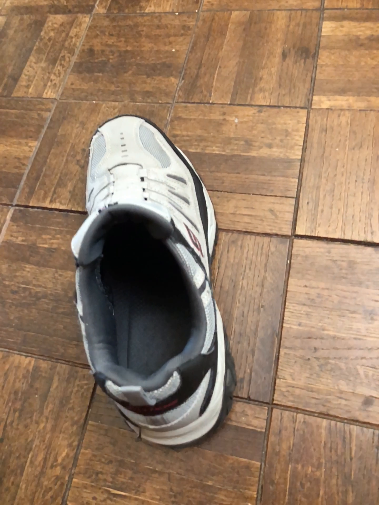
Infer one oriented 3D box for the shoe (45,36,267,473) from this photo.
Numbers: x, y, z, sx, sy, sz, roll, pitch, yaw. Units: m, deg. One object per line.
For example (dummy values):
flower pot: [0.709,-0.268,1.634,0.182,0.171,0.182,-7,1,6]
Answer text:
shoe: [-0.031,-0.001,0.365,0.120,0.150,0.320,-13,65,5]
